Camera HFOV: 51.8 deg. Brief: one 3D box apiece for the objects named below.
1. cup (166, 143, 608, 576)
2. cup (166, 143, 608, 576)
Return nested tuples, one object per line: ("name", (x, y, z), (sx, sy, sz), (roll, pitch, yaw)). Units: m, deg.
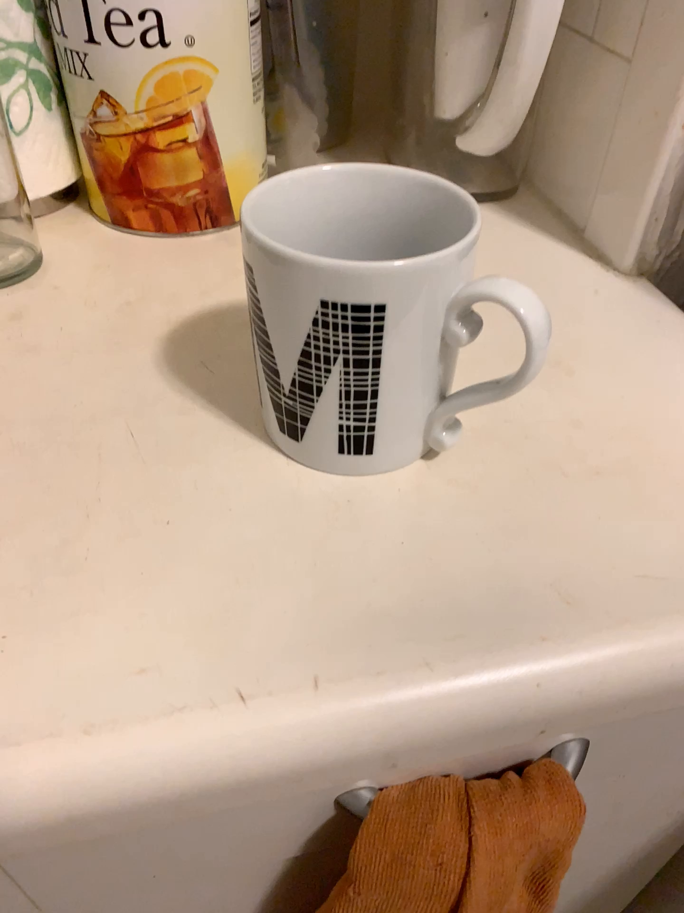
("cup", (0.016, -0.047, 0.296), (0.130, 0.109, 0.100), (26, 47, 24))
("cup", (0.016, -0.047, 0.296), (0.130, 0.109, 0.100), (26, 47, 24))
